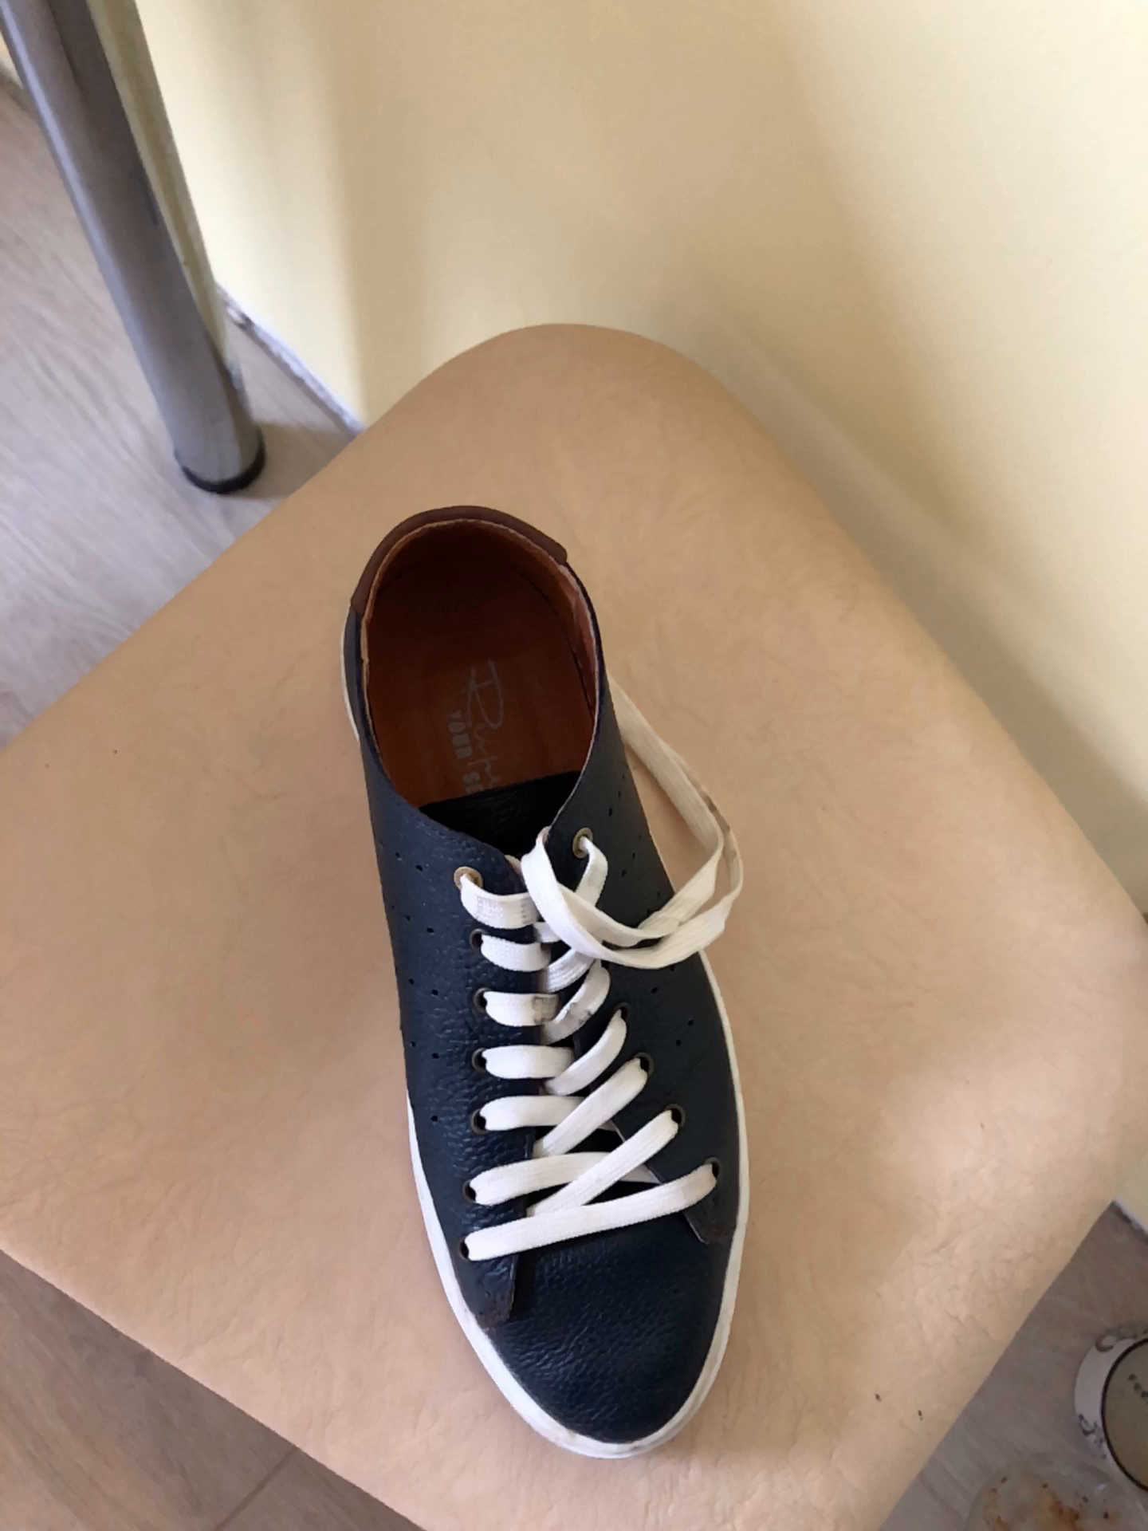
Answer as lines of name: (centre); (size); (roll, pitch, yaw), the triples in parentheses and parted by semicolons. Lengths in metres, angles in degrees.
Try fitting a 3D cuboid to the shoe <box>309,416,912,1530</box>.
shoe: (-0.001, 0.054, 0.378); (0.110, 0.090, 0.290); (-8, 76, -9)
